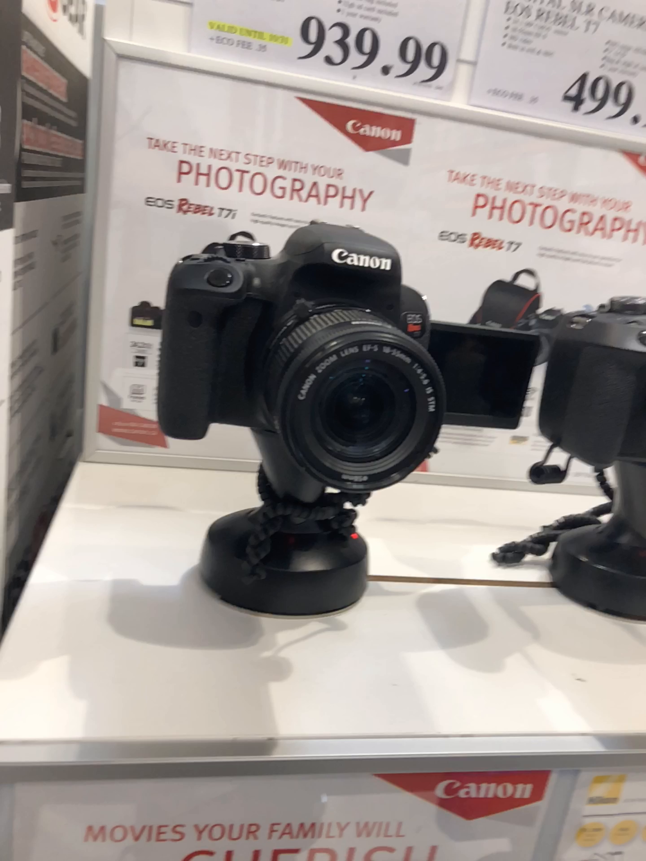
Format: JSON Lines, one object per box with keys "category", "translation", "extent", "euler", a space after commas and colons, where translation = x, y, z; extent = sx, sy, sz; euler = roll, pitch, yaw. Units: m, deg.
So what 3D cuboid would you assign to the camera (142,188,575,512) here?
{"category": "camera", "translation": [-0.002, -0.045, 0.316], "extent": [0.140, 0.100, 0.151], "euler": [4, 17, -14]}
